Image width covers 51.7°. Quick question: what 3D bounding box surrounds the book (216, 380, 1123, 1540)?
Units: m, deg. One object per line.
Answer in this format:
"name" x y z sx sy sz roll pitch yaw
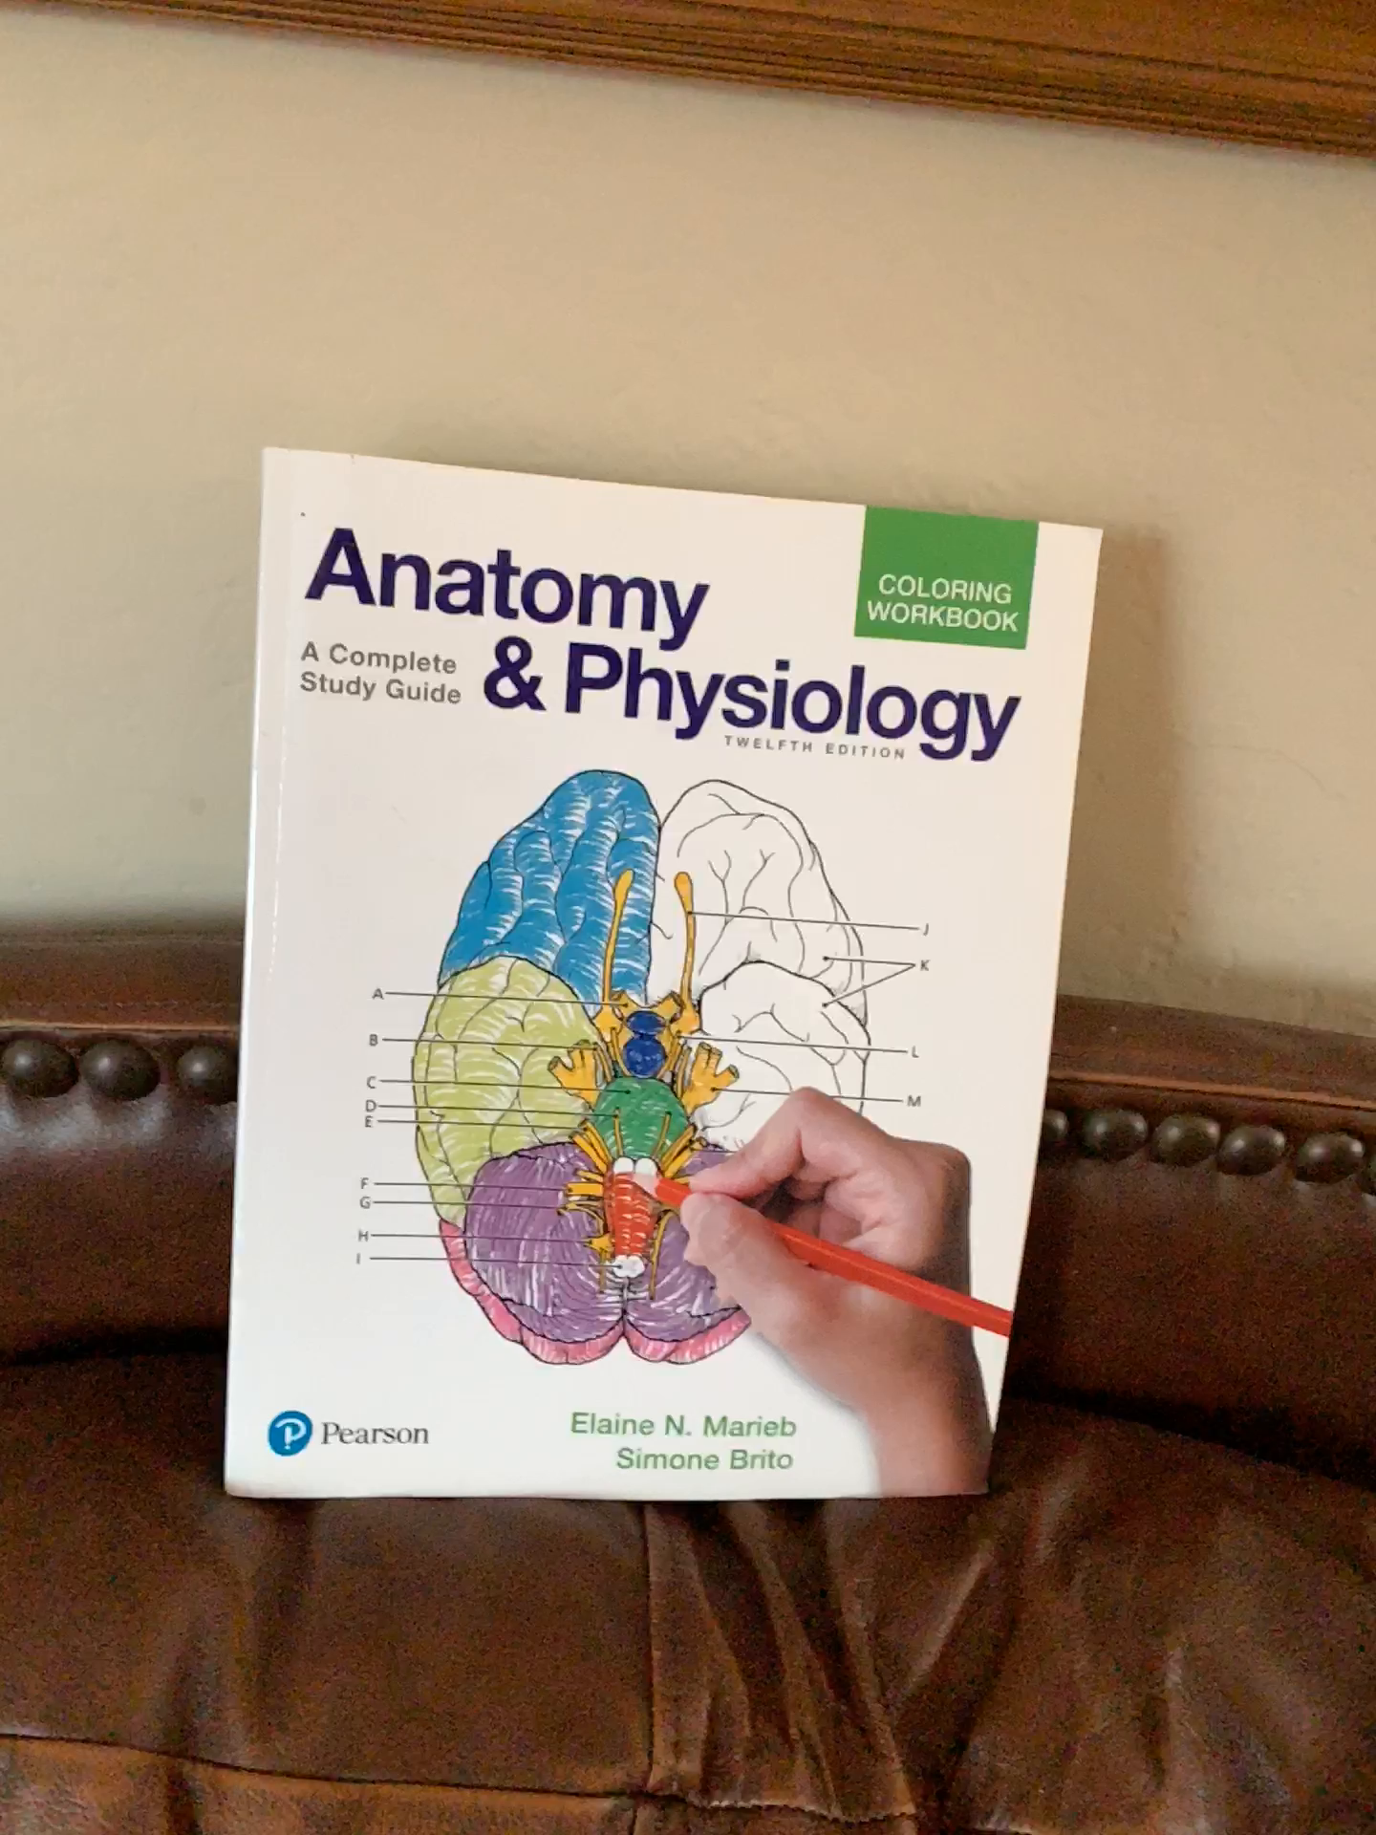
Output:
"book" -0.009 0.017 0.393 0.220 0.290 0.060 2 7 -7
